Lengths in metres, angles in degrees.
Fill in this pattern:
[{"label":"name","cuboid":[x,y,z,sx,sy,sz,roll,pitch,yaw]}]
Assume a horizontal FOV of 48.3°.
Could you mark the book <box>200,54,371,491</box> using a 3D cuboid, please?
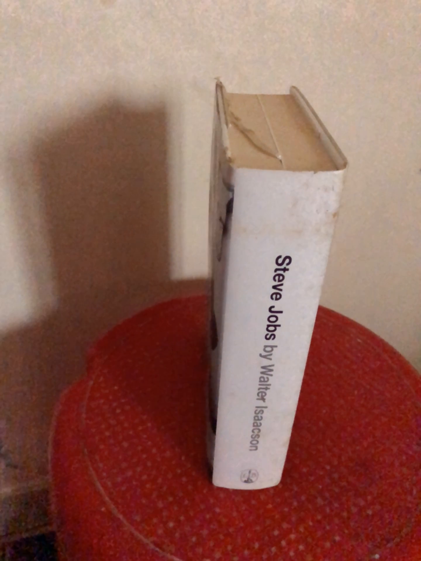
[{"label":"book","cuboid":[0.025,-0.008,0.308,0.060,0.229,0.171,1,34,-2]}]
